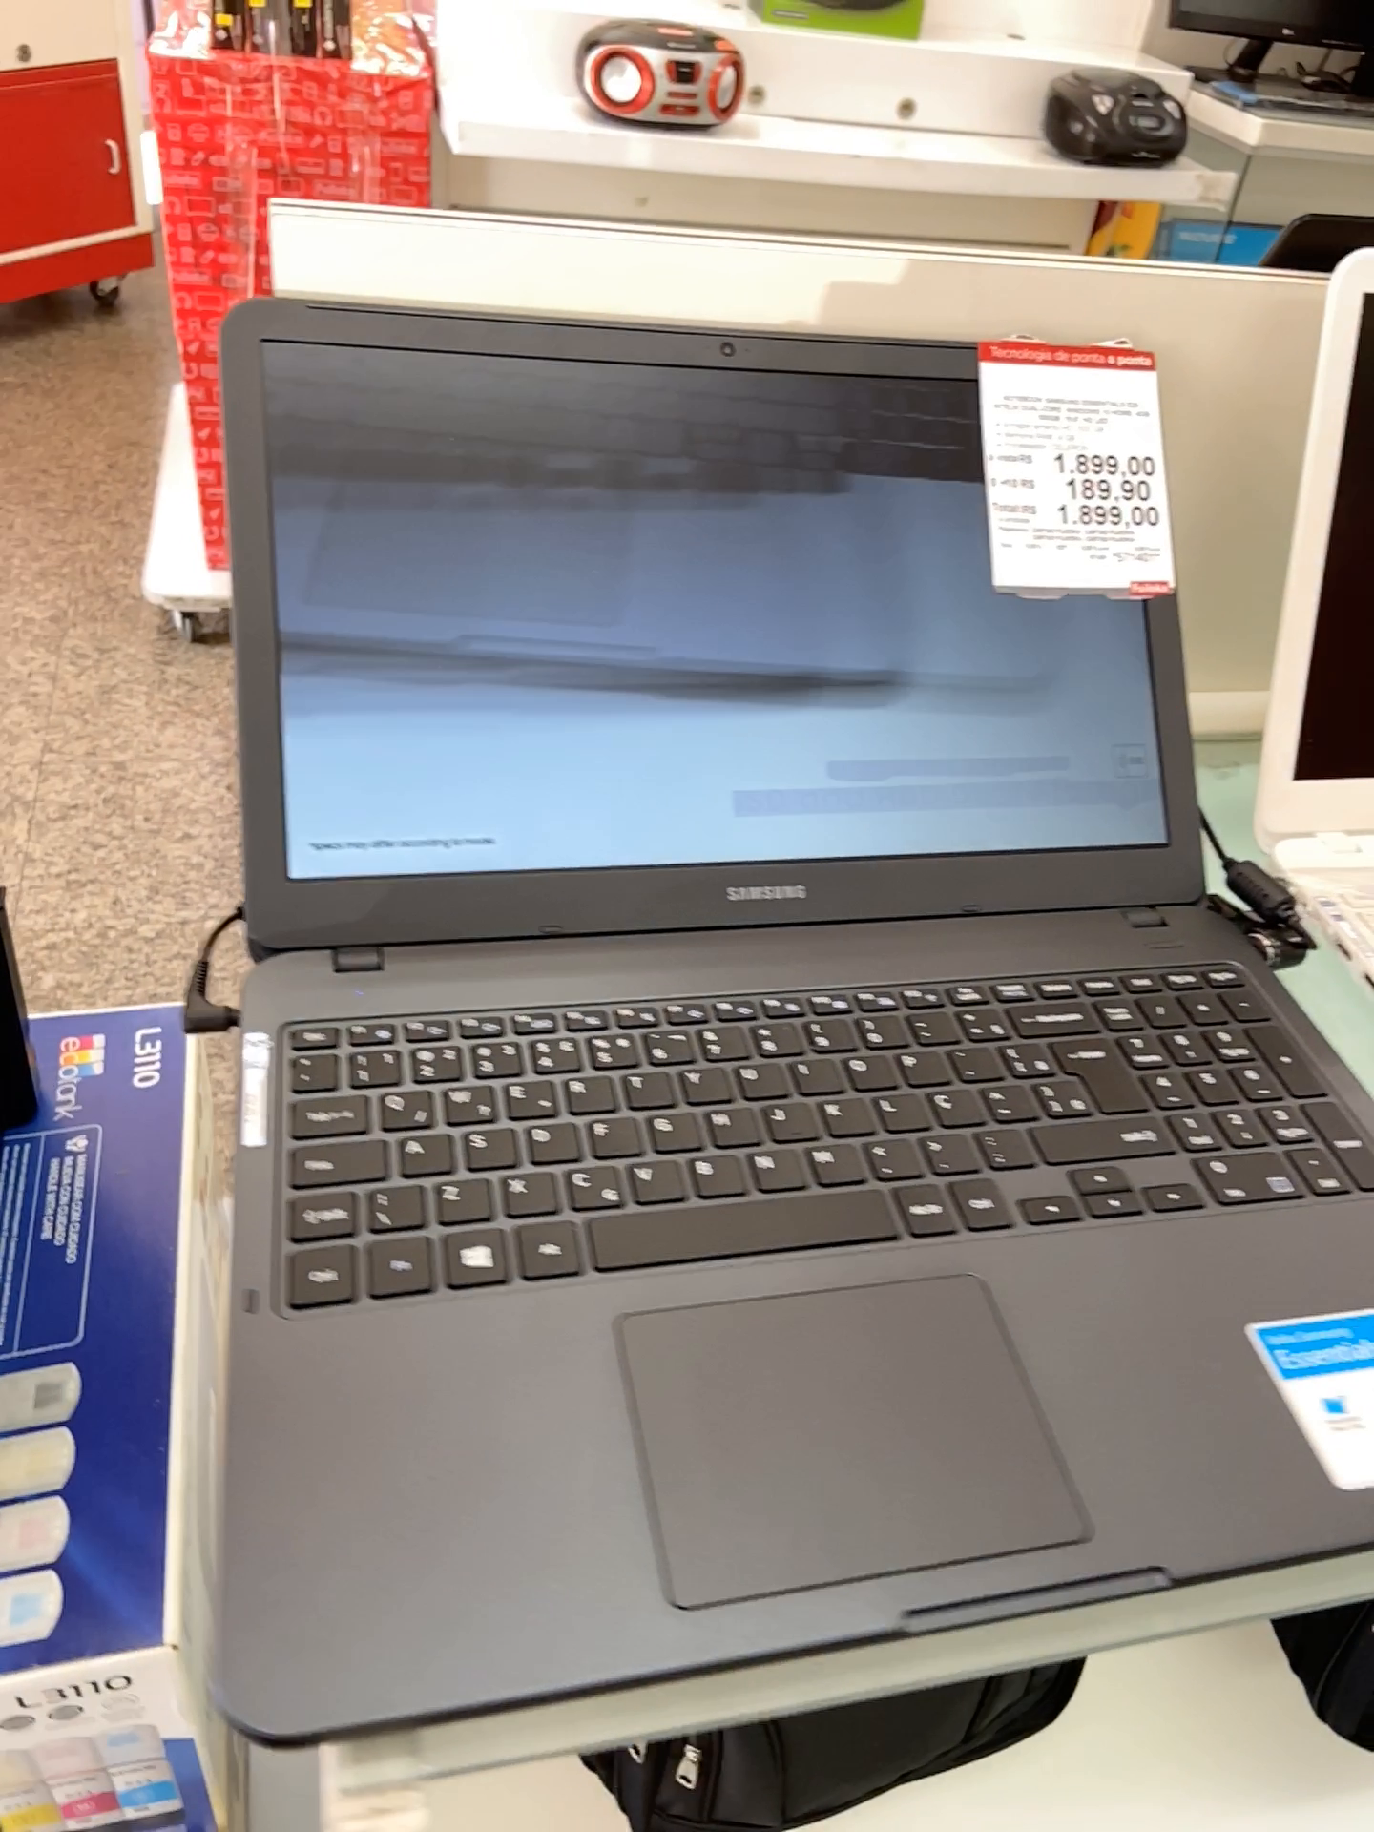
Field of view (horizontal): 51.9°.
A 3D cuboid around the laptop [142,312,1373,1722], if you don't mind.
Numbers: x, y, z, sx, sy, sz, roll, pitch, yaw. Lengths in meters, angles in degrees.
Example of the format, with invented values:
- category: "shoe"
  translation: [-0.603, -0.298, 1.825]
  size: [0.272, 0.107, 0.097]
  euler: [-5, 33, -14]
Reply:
- category: "laptop"
  translation: [0.051, -0.034, 0.446]
  size: [0.367, 0.157, 0.413]
  euler: [-3, 40, -13]
